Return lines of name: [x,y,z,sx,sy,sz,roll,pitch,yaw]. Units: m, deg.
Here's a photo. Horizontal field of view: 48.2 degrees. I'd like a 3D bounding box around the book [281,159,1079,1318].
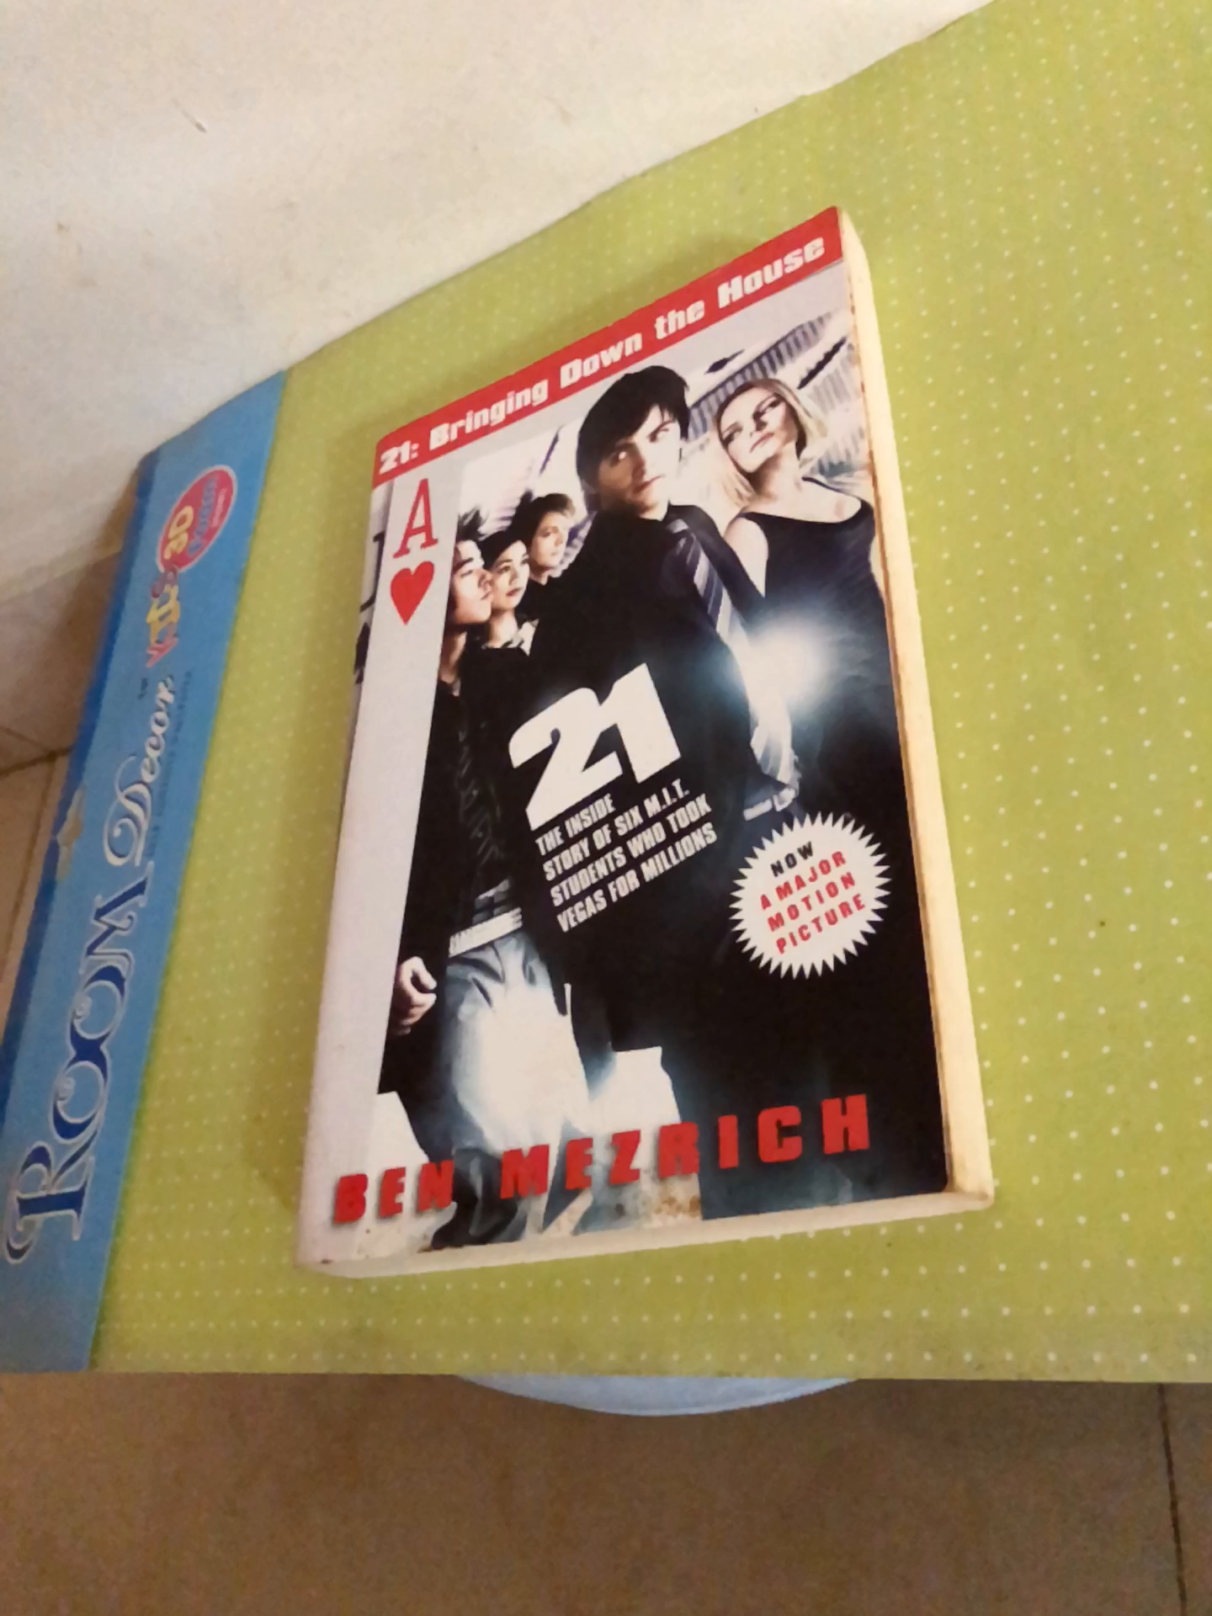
book: [0.007,-0.015,0.274,0.130,0.040,0.210,-17,58,29]
